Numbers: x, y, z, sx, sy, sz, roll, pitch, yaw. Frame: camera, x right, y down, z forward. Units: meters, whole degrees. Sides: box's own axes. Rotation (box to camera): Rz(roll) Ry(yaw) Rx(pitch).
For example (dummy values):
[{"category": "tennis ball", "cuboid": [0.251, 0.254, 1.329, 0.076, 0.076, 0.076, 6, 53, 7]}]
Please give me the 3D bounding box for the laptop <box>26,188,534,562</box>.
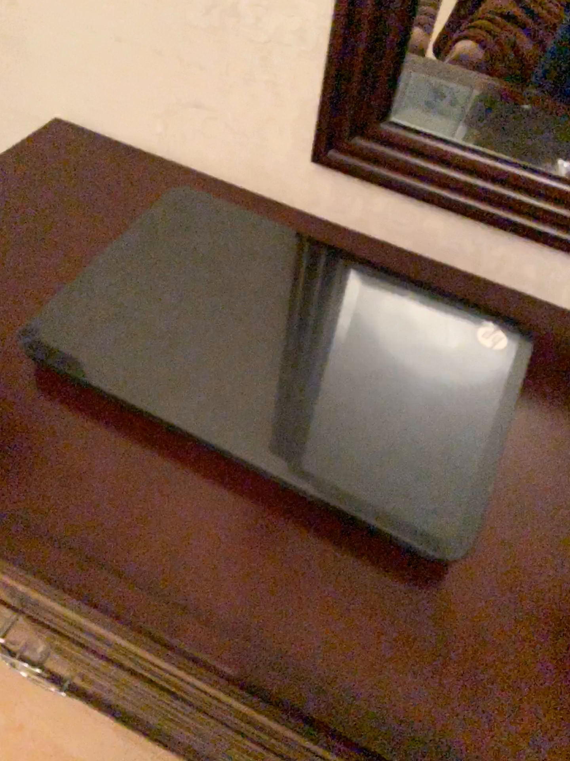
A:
[{"category": "laptop", "cuboid": [0.010, -0.035, 0.461, 0.344, 0.003, 0.223, 25, 55, 11]}]
